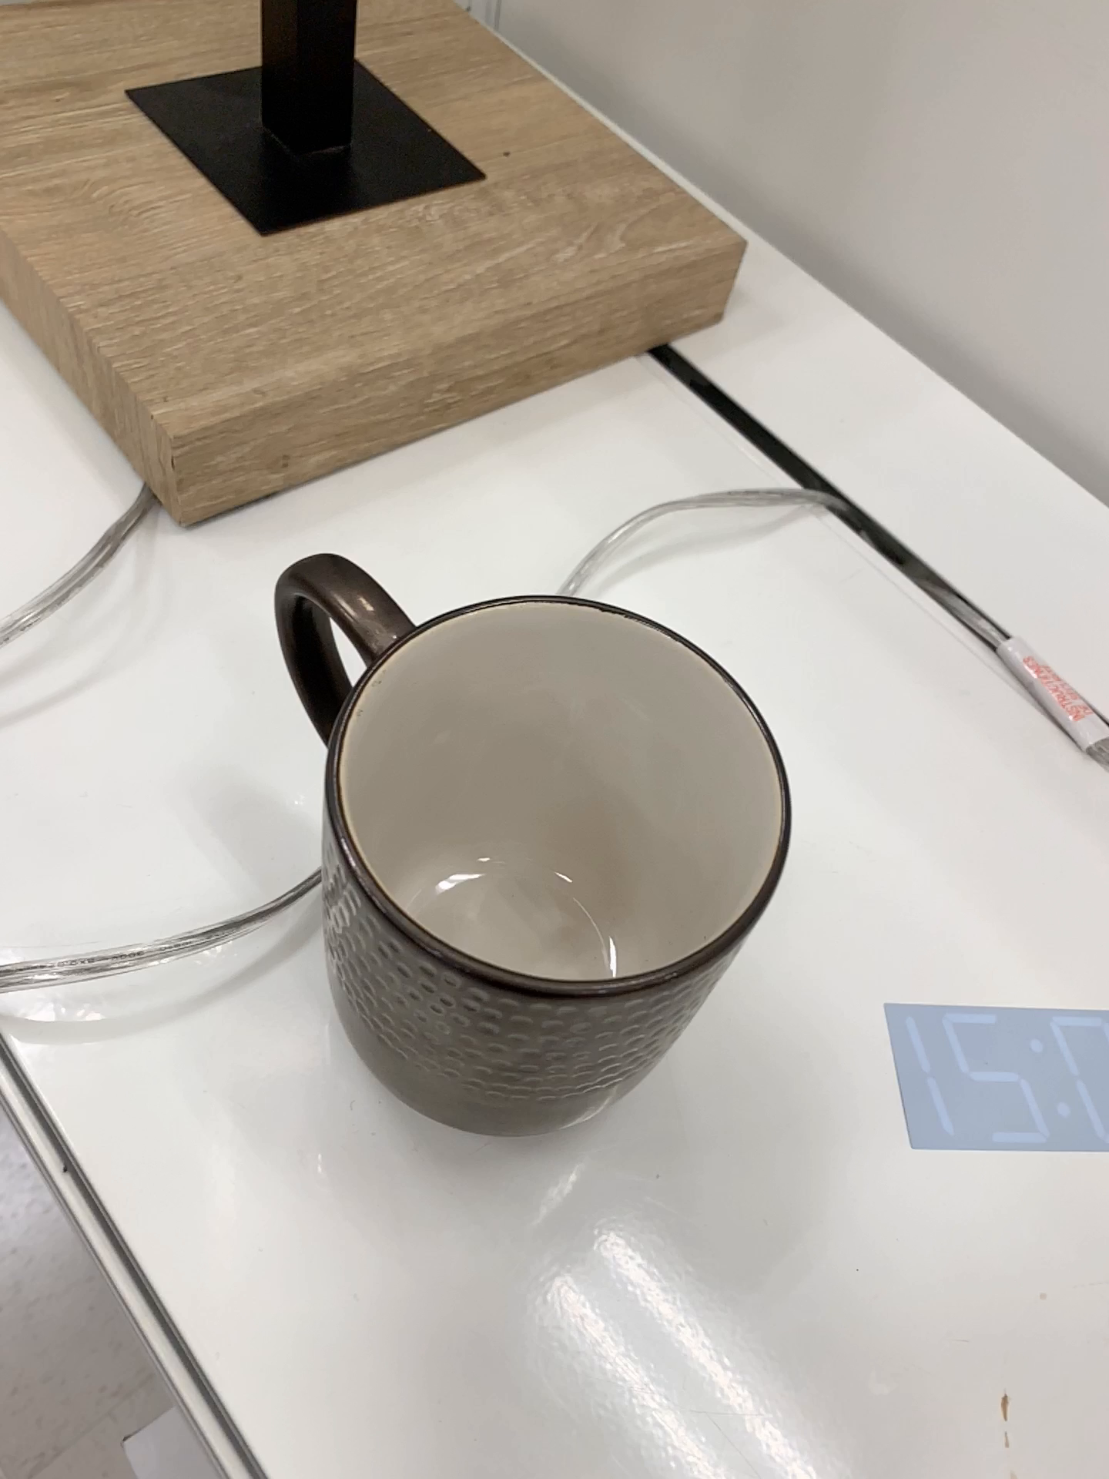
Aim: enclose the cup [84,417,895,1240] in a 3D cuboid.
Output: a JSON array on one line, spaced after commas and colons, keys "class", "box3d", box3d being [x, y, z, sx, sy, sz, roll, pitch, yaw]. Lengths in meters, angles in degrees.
[{"class": "cup", "box3d": [-0.019, 0.018, 0.261, 0.095, 0.093, 0.131, -36, 69, -29]}]
